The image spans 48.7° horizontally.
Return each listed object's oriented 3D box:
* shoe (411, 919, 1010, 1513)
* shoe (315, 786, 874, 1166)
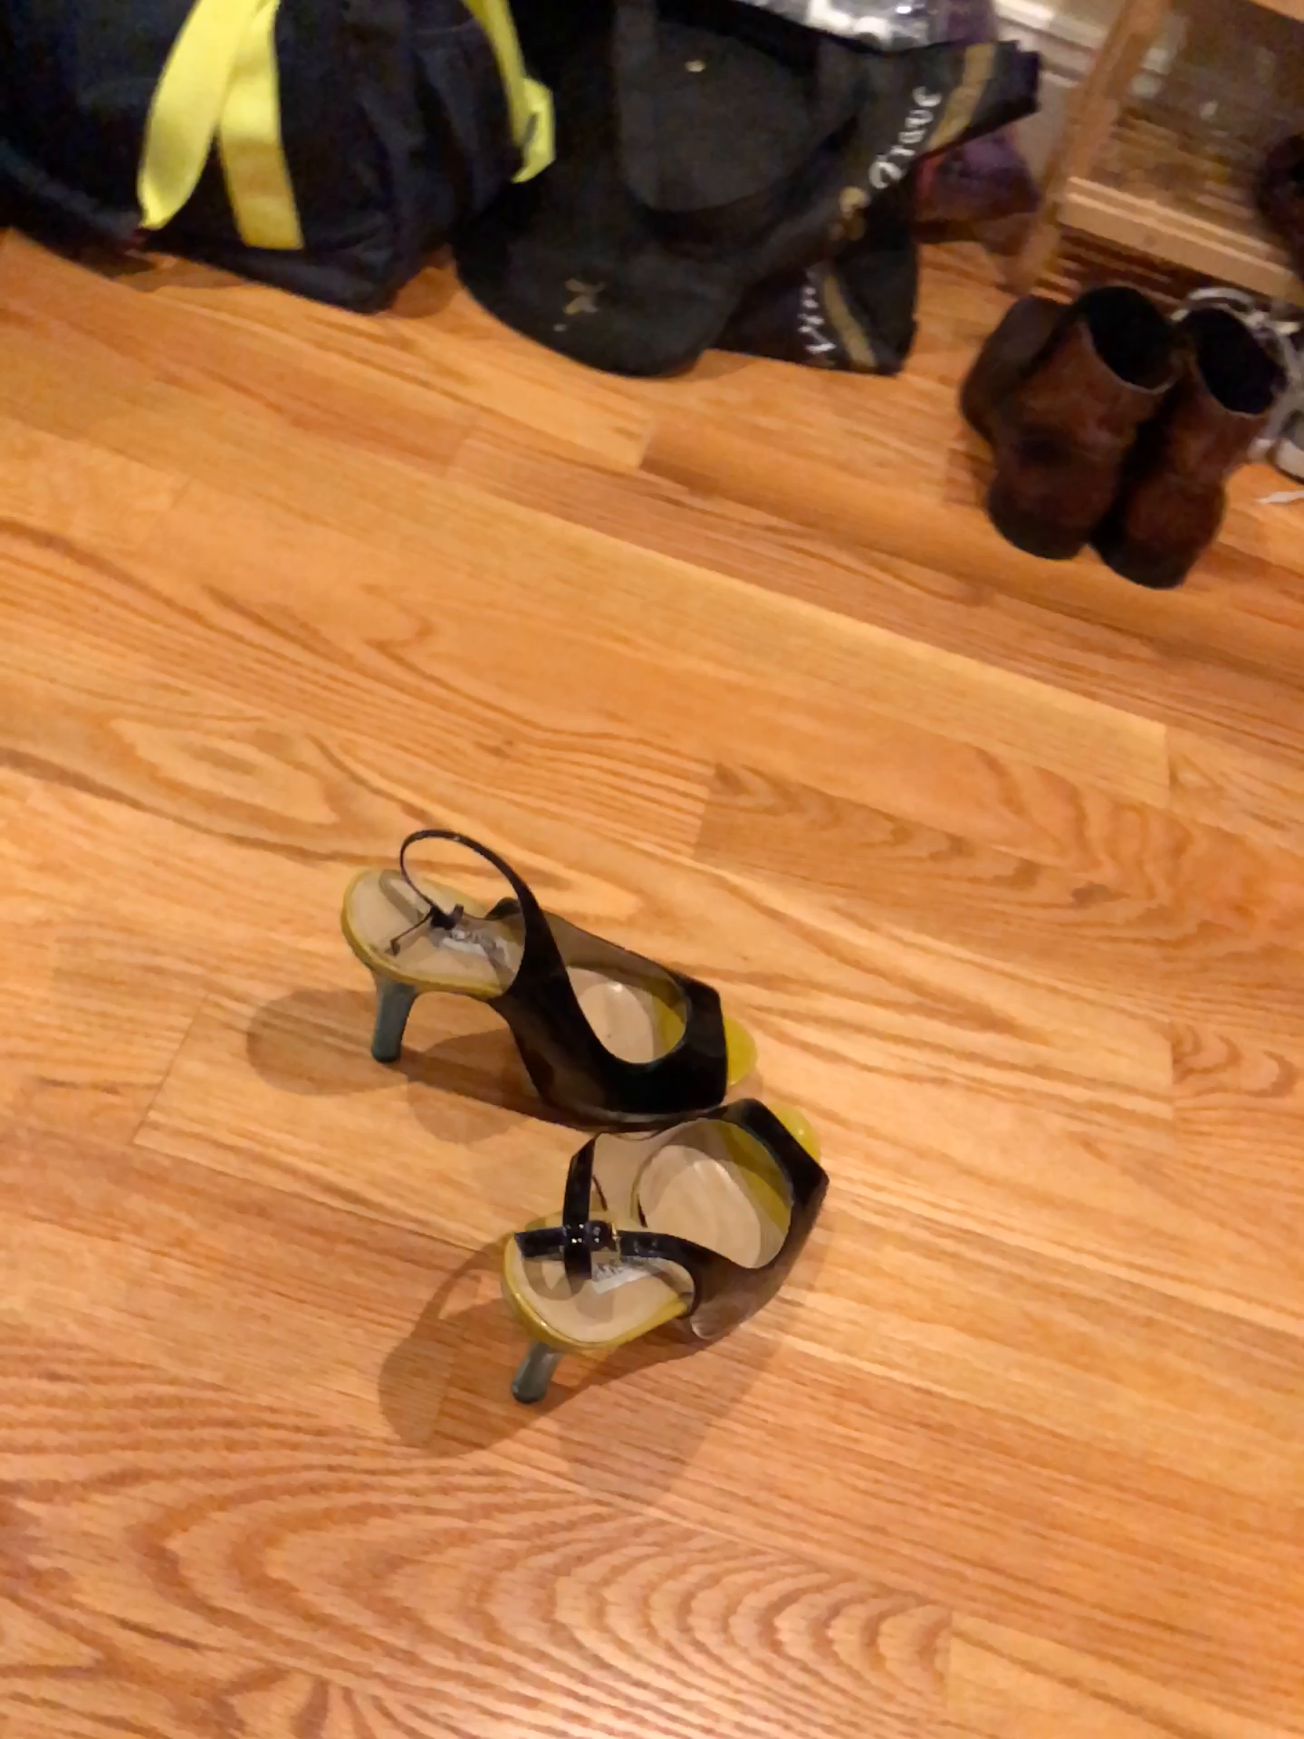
[{"bbox_3d":[0.022,0.130,0.560,0.202,0.131,0.085,-29,65,-35],"label":"shoe"},{"bbox_3d":[-0.029,0.050,0.609,0.204,0.121,0.085,7,50,-13],"label":"shoe"}]
